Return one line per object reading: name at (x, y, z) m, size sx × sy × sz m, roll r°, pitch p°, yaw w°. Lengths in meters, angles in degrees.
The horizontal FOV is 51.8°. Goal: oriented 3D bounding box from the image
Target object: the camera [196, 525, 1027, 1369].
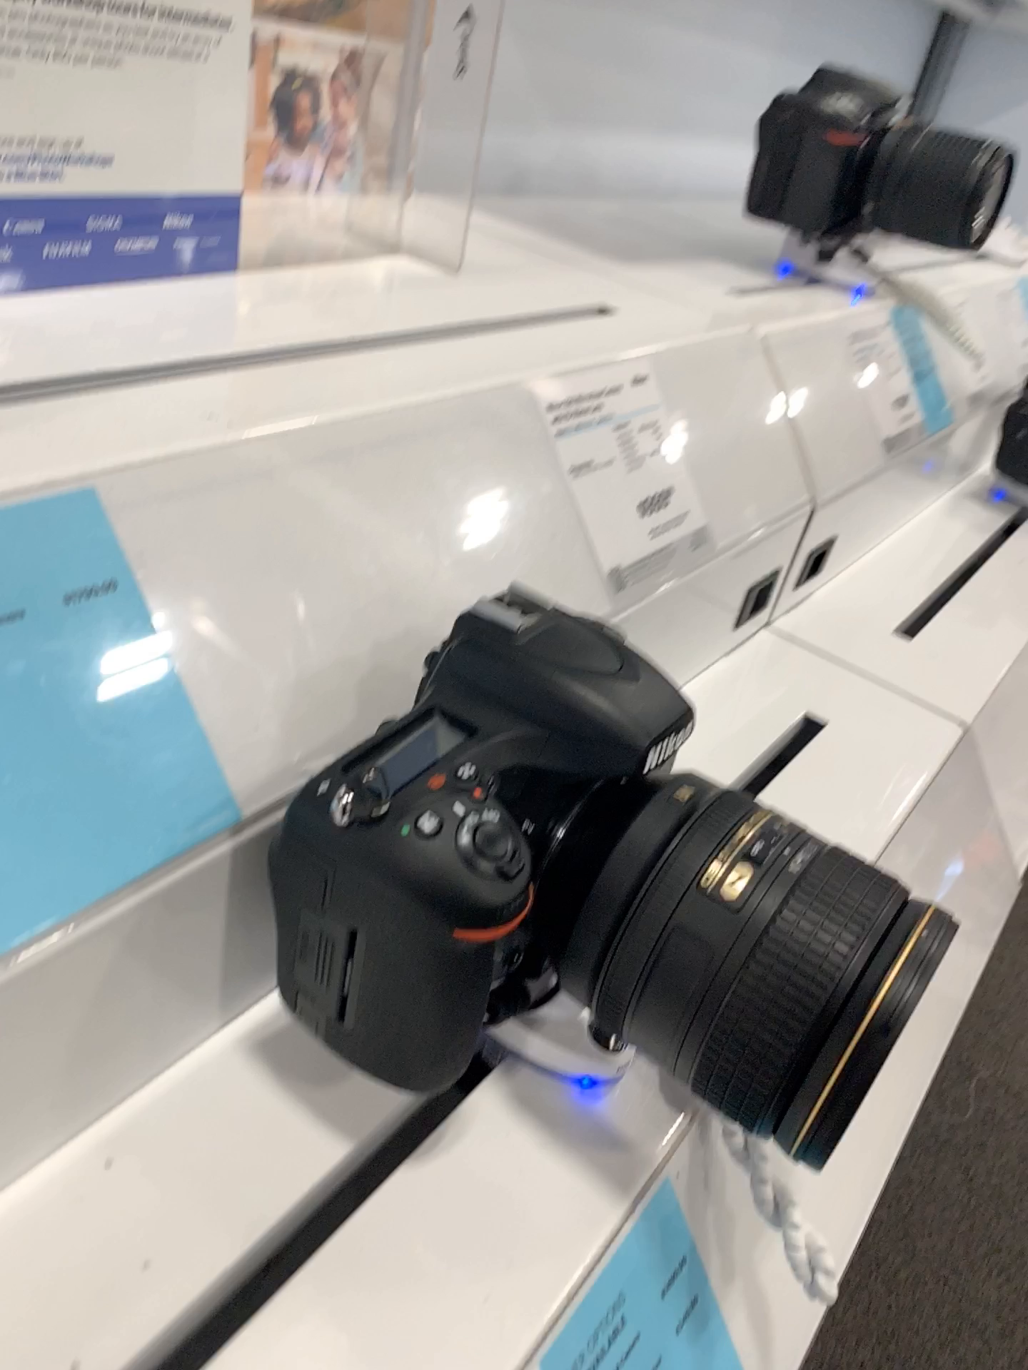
camera at (0.028, 0.056, 0.305) m, size 0.180 × 0.111 × 0.141 m, roll 27°, pitch 35°, yaw 20°
